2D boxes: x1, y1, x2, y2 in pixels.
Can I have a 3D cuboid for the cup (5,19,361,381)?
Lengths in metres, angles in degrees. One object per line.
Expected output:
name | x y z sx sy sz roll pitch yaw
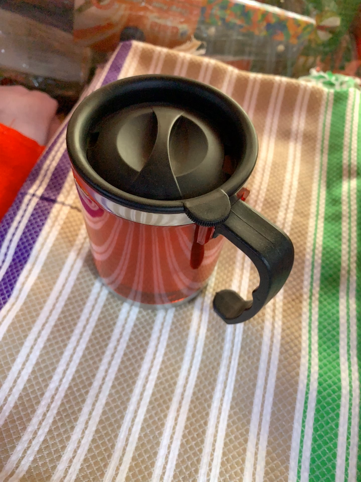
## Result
cup | 0.003 -0.022 0.203 0.130 0.103 0.100 39 61 18
